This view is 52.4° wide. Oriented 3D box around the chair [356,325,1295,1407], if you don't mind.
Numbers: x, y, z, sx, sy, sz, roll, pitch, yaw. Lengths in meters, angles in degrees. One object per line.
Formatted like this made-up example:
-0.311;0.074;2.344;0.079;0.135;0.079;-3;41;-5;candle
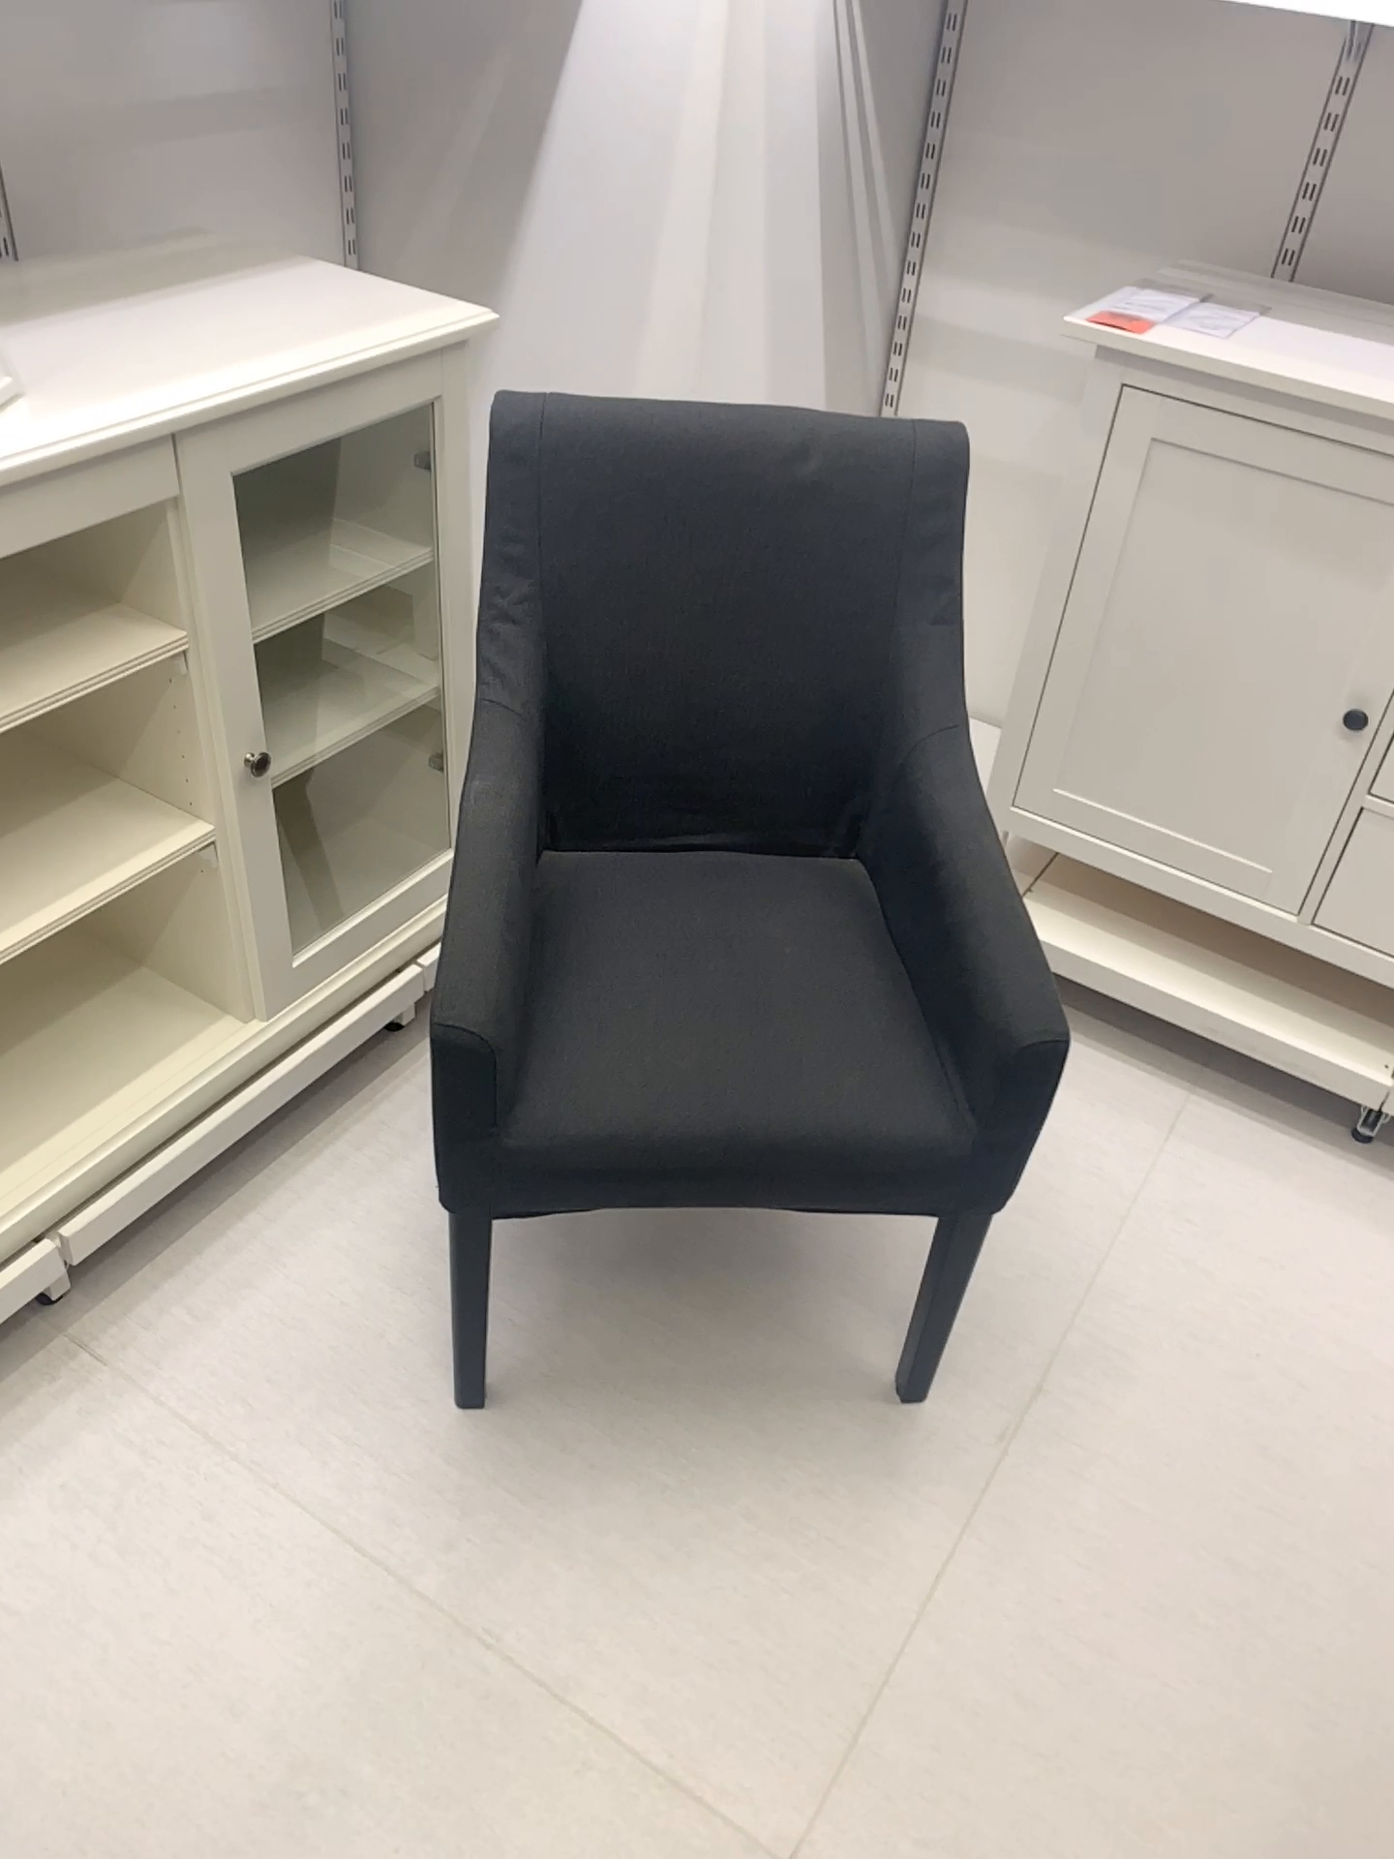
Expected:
0.040;-0.039;1.510;0.660;0.946;0.612;1;38;-6;chair
